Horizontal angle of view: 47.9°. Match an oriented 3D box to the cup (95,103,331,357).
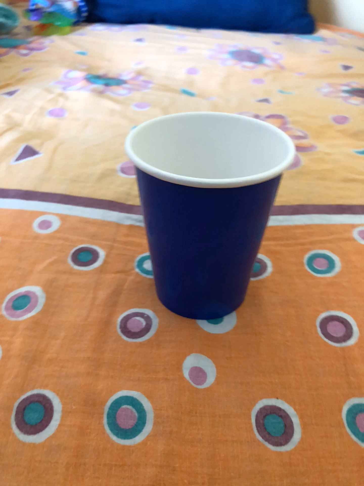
[{"bbox_3d":[0.011,-0.013,0.219,0.080,0.090,0.080,0,34,0],"label":"cup"}]
